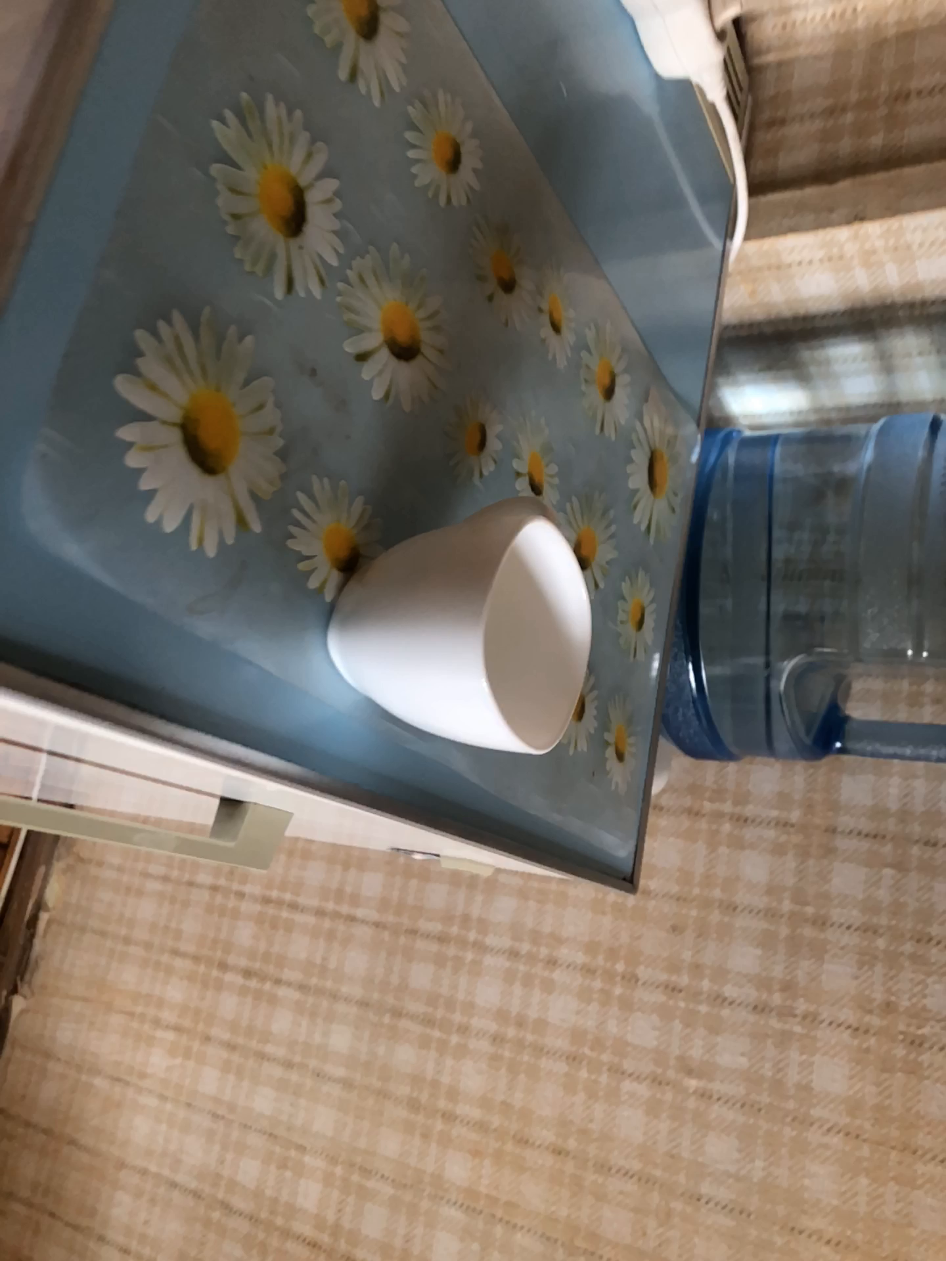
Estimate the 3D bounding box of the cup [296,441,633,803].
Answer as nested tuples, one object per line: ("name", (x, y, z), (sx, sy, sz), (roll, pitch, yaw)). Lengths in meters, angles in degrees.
("cup", (0.002, 0.001, 0.365), (0.085, 0.070, 0.102), (27, 69, -56))
